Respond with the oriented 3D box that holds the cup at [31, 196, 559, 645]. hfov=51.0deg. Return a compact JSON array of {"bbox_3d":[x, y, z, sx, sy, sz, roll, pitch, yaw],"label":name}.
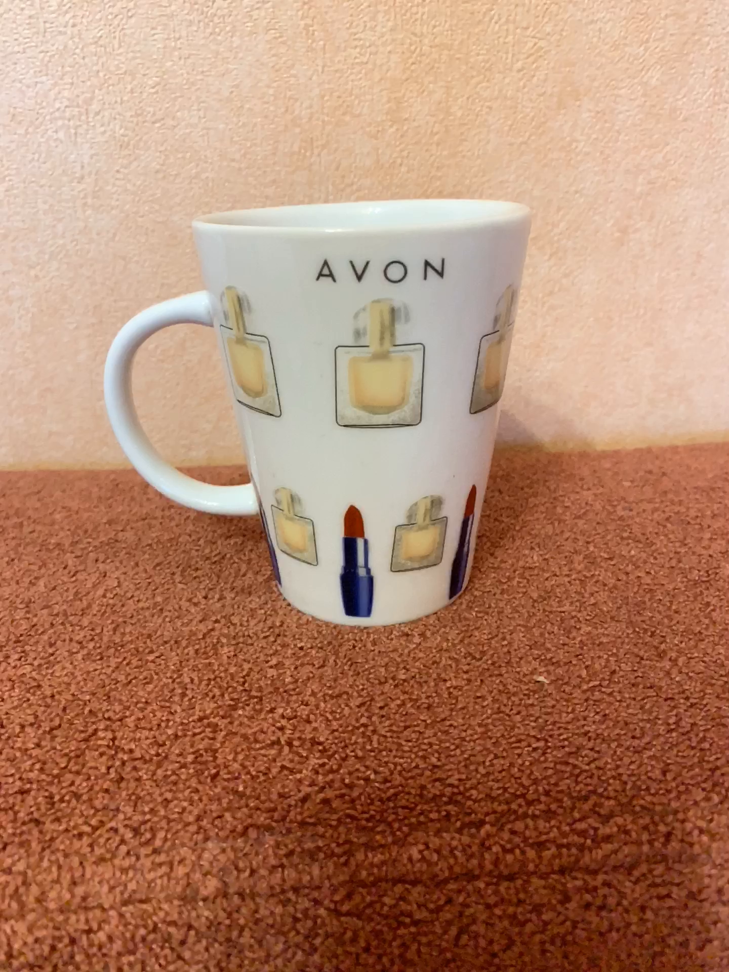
[{"bbox_3d":[-0.010,-0.021,0.198,0.103,0.093,0.071,2,25,6],"label":"cup"}]
